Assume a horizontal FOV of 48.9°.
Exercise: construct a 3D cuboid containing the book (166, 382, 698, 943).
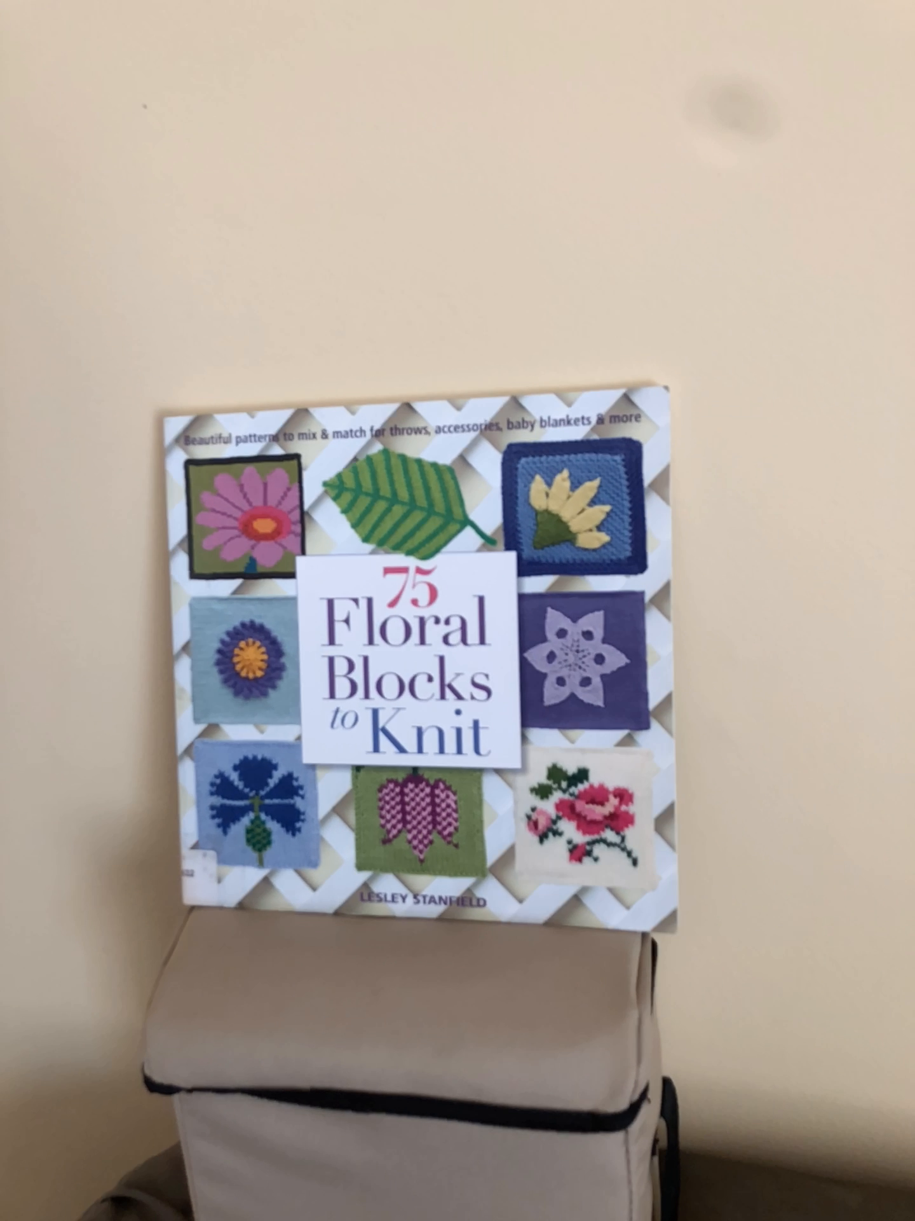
[{"bbox_3d":[-0.015,0.019,0.416,0.218,0.215,0.020,1,2,11],"label":"book"}]
